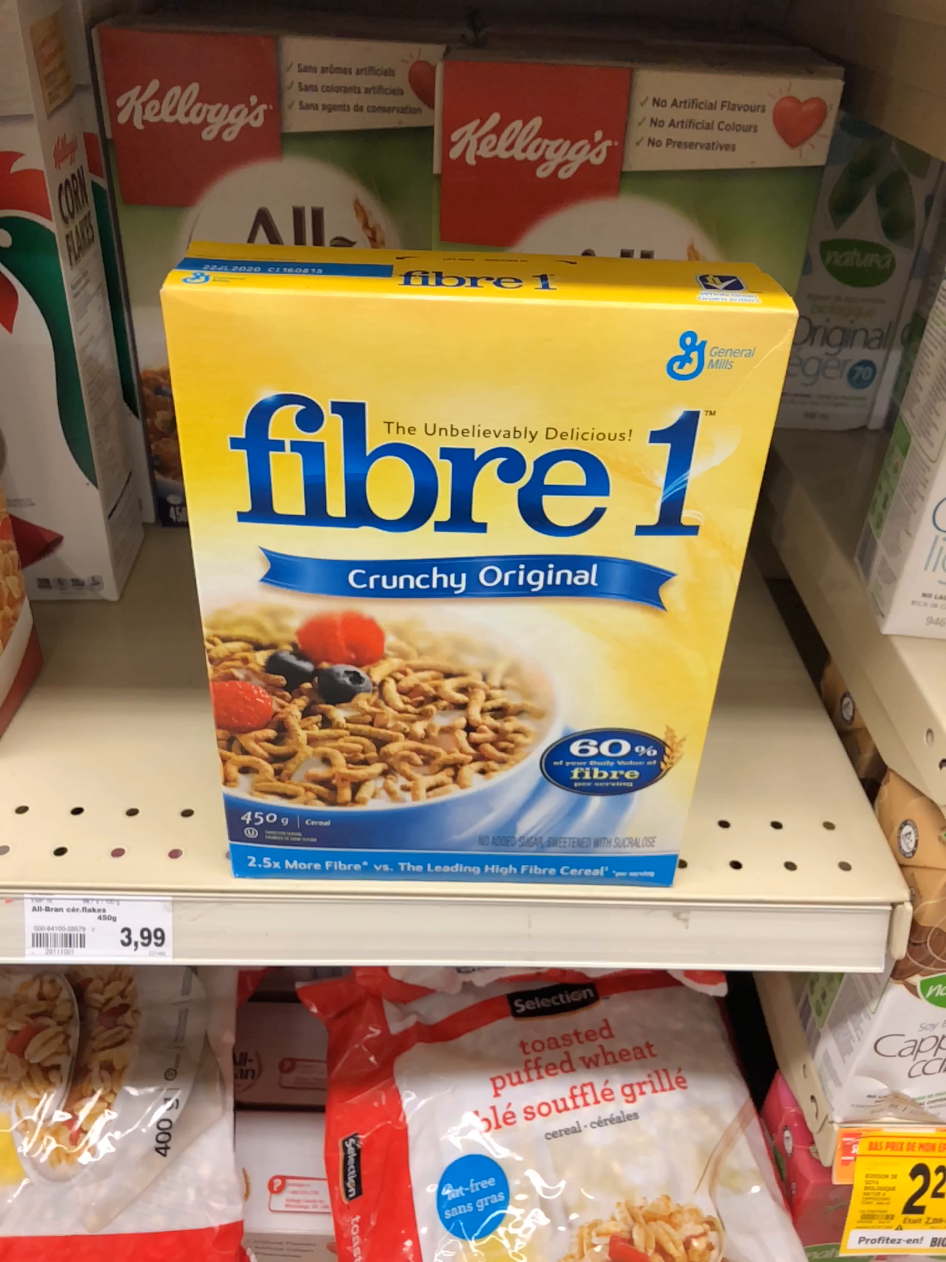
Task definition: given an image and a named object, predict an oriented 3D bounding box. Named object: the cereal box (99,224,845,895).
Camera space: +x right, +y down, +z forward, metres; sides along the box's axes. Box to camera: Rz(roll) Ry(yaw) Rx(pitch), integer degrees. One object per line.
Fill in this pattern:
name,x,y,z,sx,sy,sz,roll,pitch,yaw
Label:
cereal box,-0.005,-0.010,0.391,0.210,0.248,0.061,1,35,-2
